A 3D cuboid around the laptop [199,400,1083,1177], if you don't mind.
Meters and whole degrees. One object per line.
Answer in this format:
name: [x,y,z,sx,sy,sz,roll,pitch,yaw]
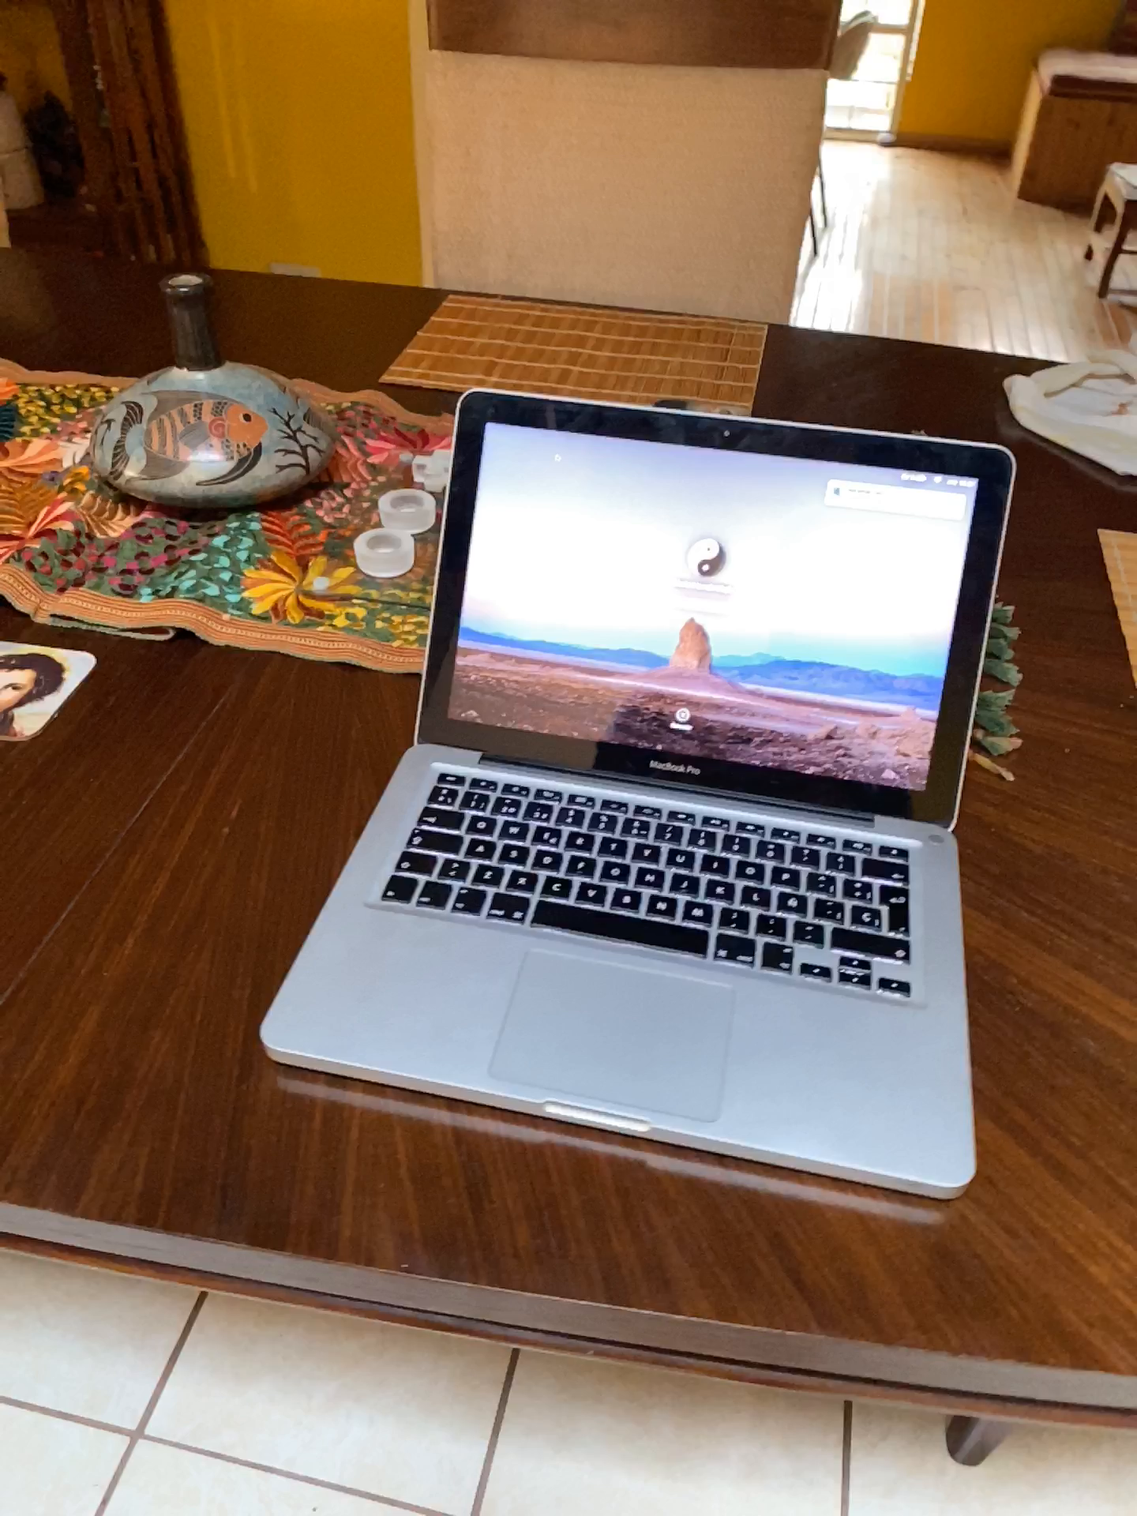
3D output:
laptop: [0.055,-0.019,0.610,0.324,0.170,0.359,9,40,9]
